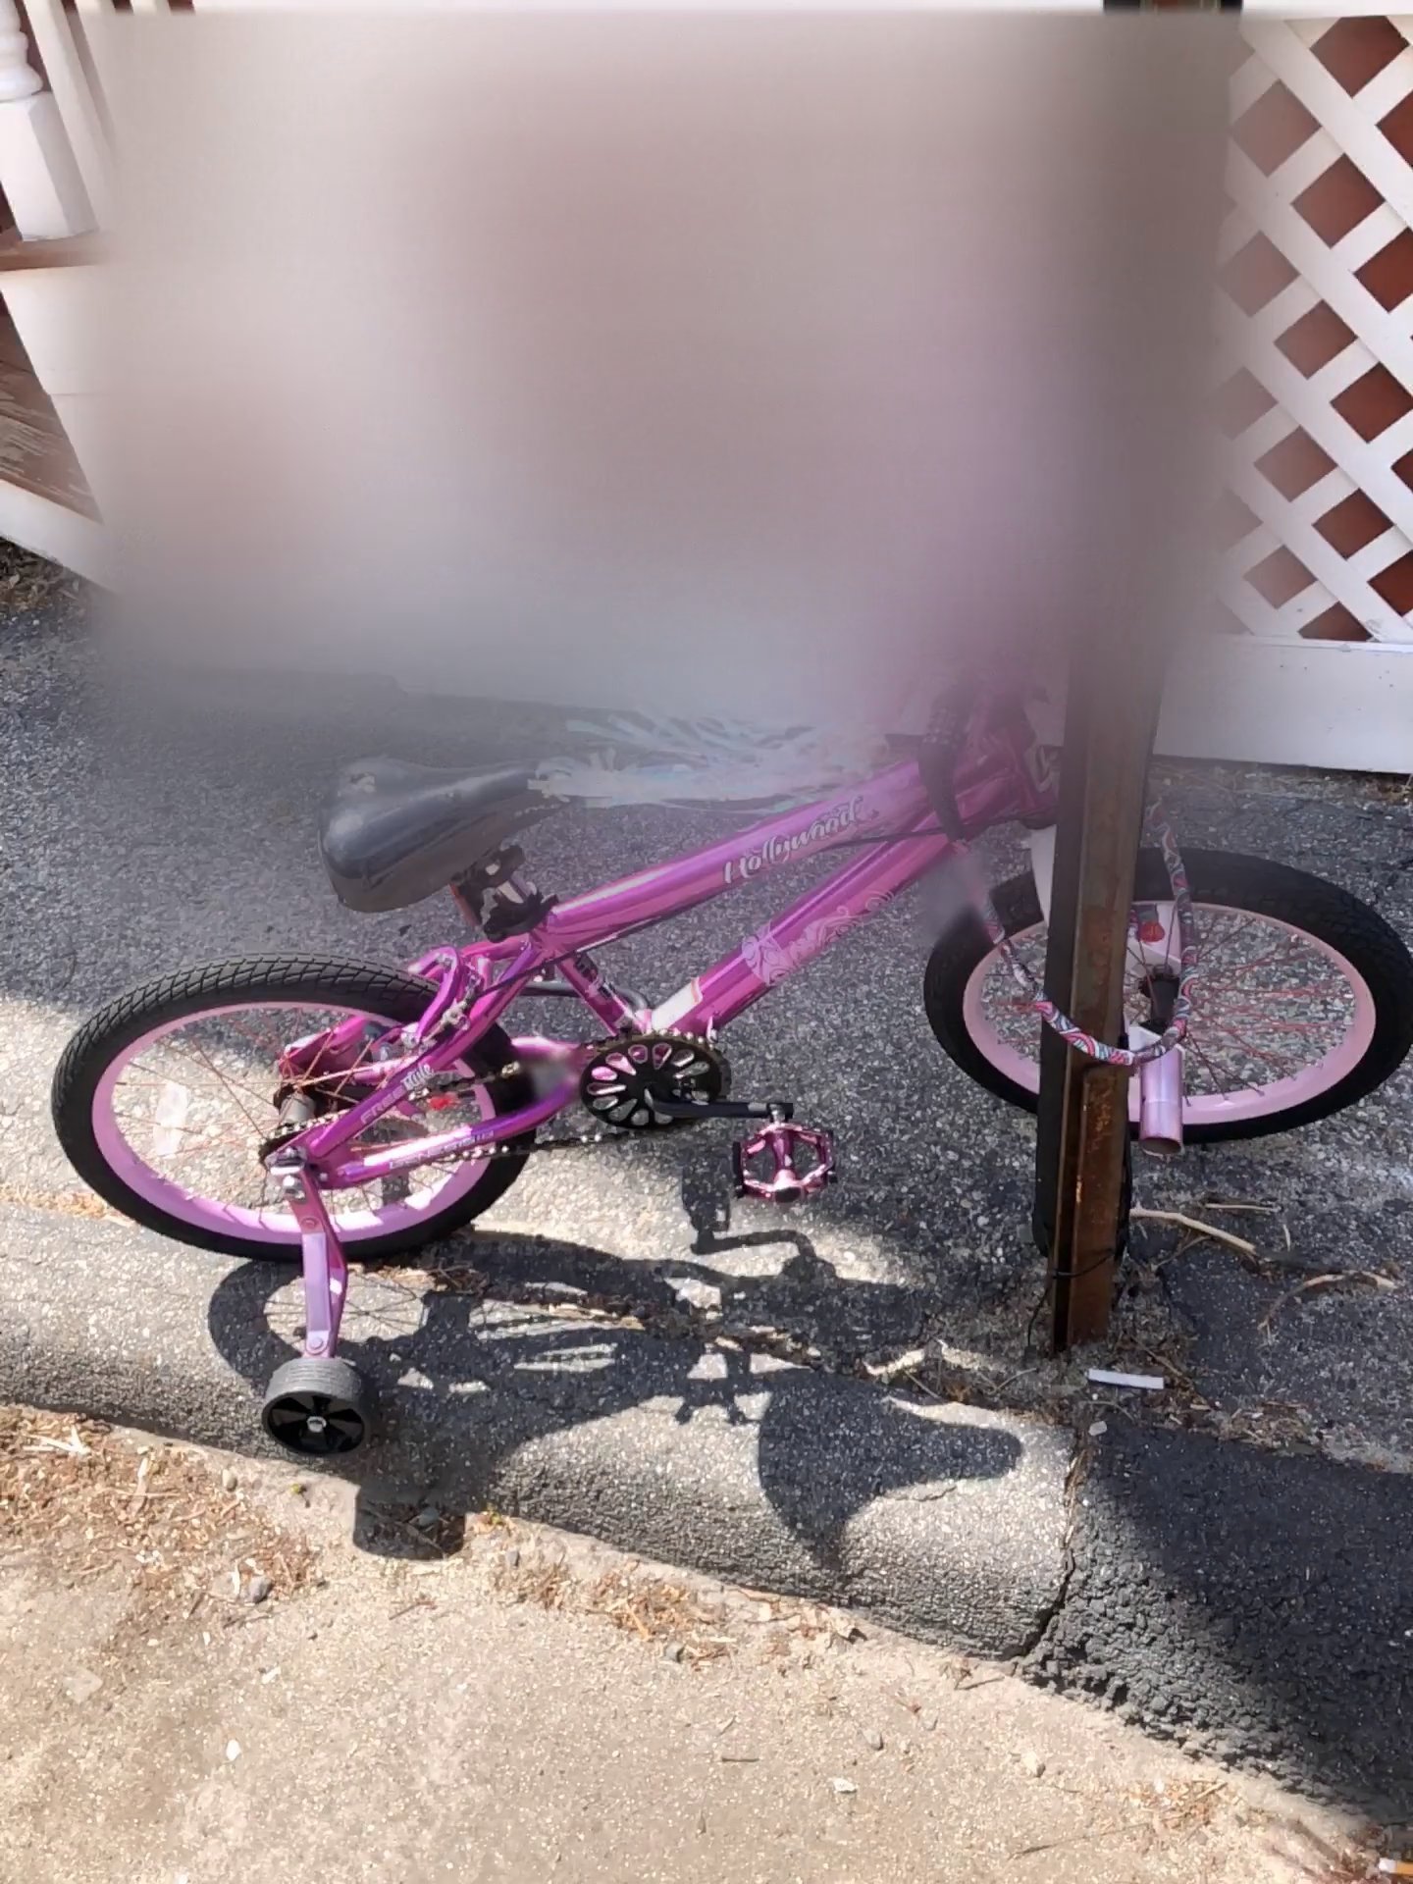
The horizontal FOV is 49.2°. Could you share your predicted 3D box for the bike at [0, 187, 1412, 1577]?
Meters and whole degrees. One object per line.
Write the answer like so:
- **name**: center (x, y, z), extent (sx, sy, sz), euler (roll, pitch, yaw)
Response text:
- **bike**: center (0.004, -0.025, 1.288), extent (1.224, 0.869, 0.618), euler (-5, 38, 3)
